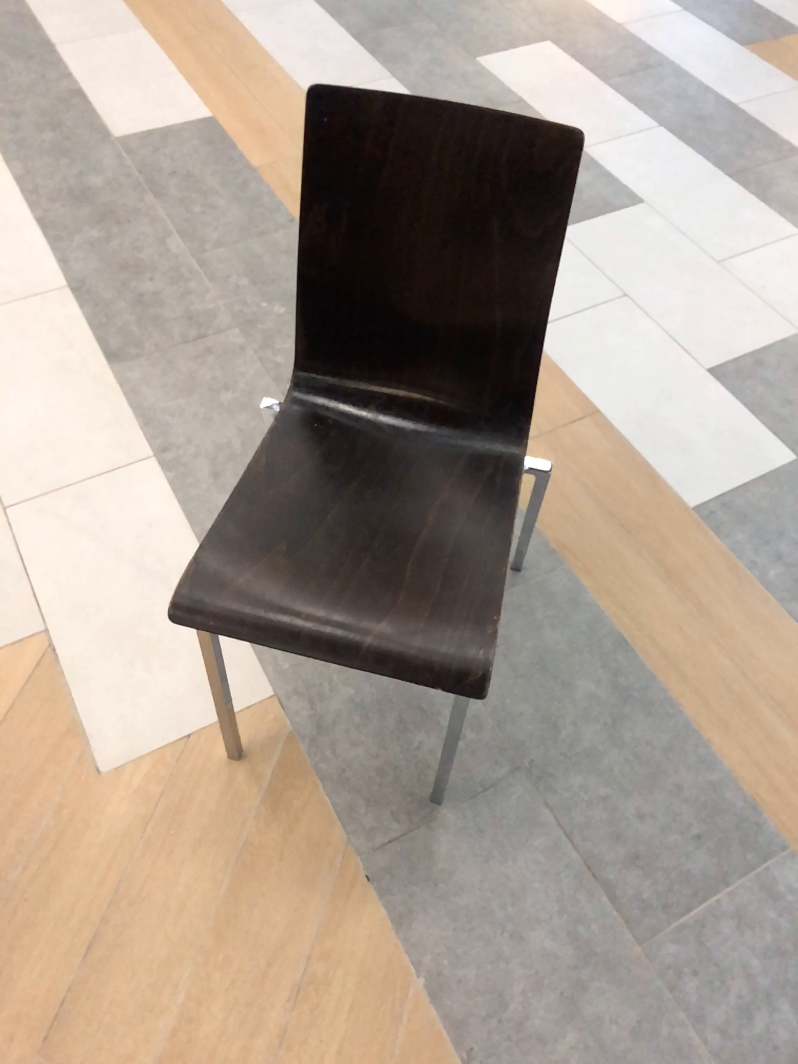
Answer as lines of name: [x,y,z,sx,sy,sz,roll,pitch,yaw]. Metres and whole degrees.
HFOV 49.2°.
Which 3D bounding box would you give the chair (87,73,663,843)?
chair: [0.002,-0.035,1.190,0.433,0.847,0.544,13,53,7]
